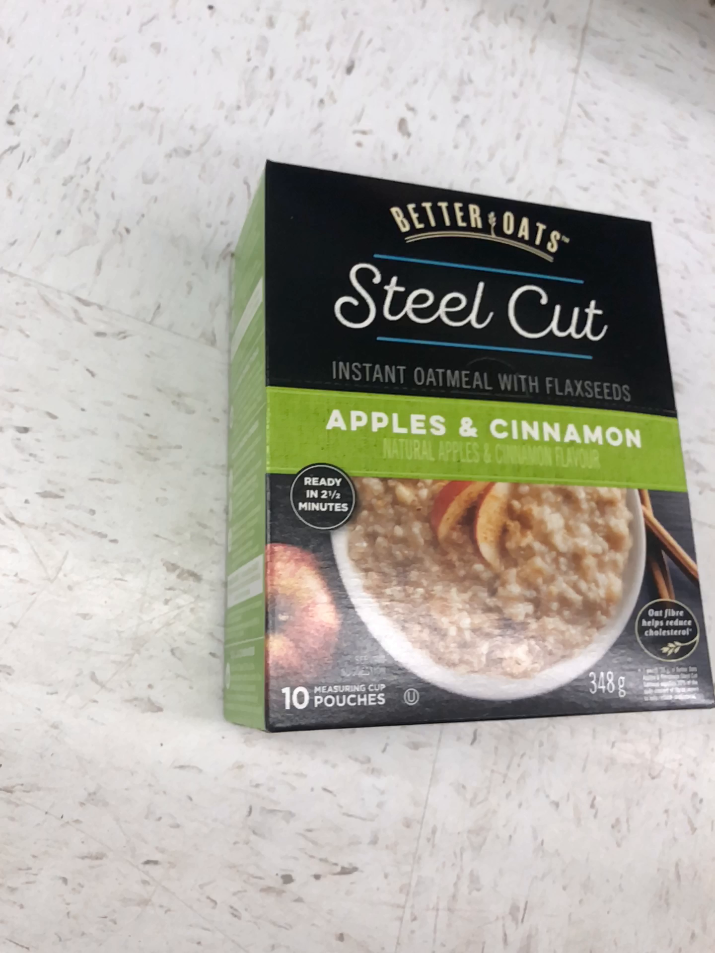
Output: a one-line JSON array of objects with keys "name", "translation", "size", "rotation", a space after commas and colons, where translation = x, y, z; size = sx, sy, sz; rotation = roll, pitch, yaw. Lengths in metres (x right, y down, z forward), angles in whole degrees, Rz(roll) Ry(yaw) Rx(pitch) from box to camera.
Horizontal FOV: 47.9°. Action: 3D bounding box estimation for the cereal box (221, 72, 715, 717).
[{"name": "cereal box", "translation": [0.036, -0.022, 0.292], "size": [0.160, 0.070, 0.200], "rotation": [3, 75, -18]}]
